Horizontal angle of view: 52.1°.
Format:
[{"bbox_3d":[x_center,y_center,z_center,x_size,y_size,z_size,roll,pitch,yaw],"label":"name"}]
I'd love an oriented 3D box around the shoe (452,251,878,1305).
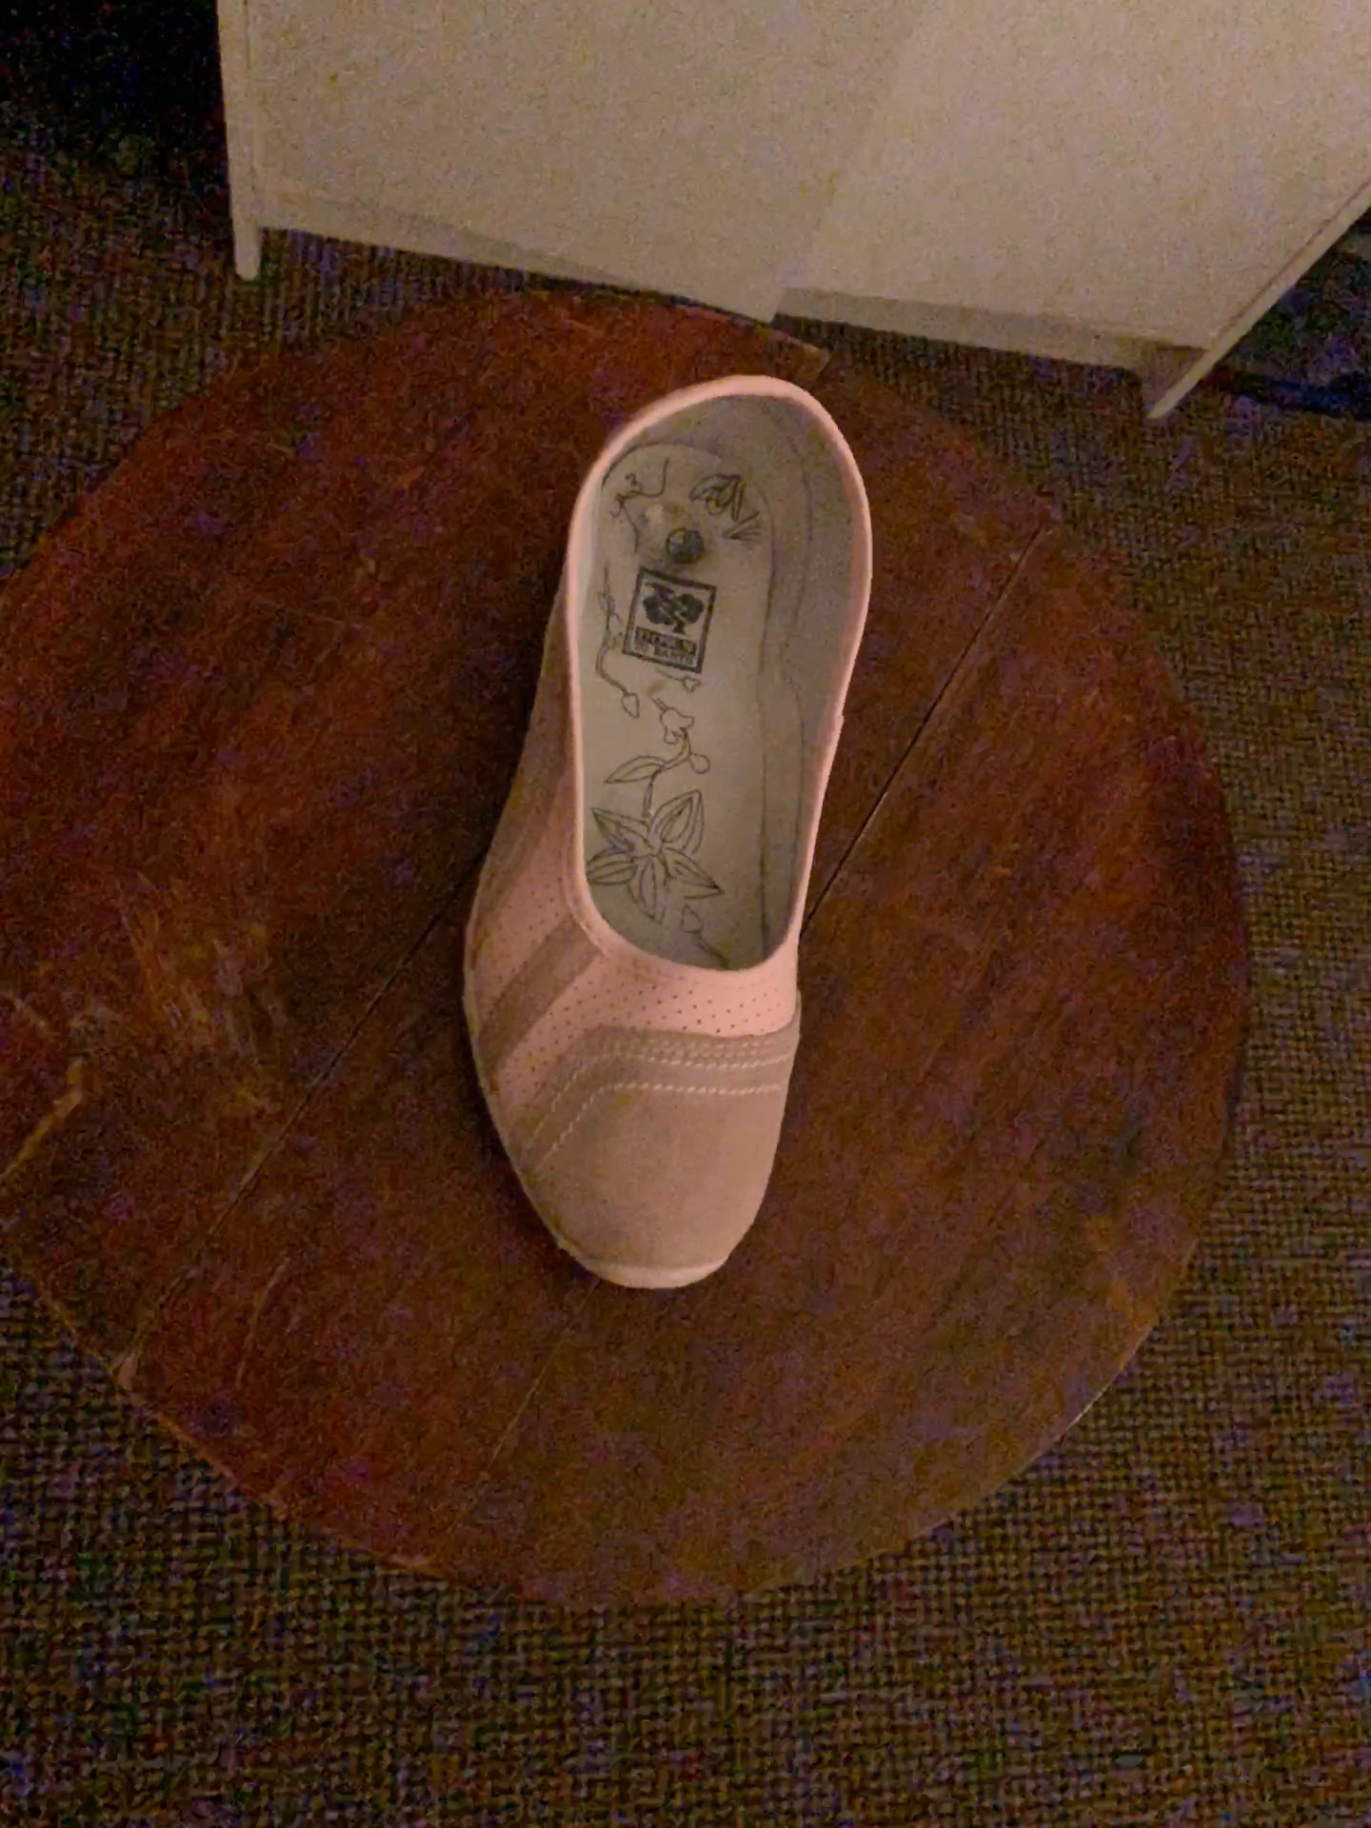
[{"bbox_3d":[-0.004,-0.036,0.382,0.090,0.070,0.271,6,72,-13],"label":"shoe"}]
